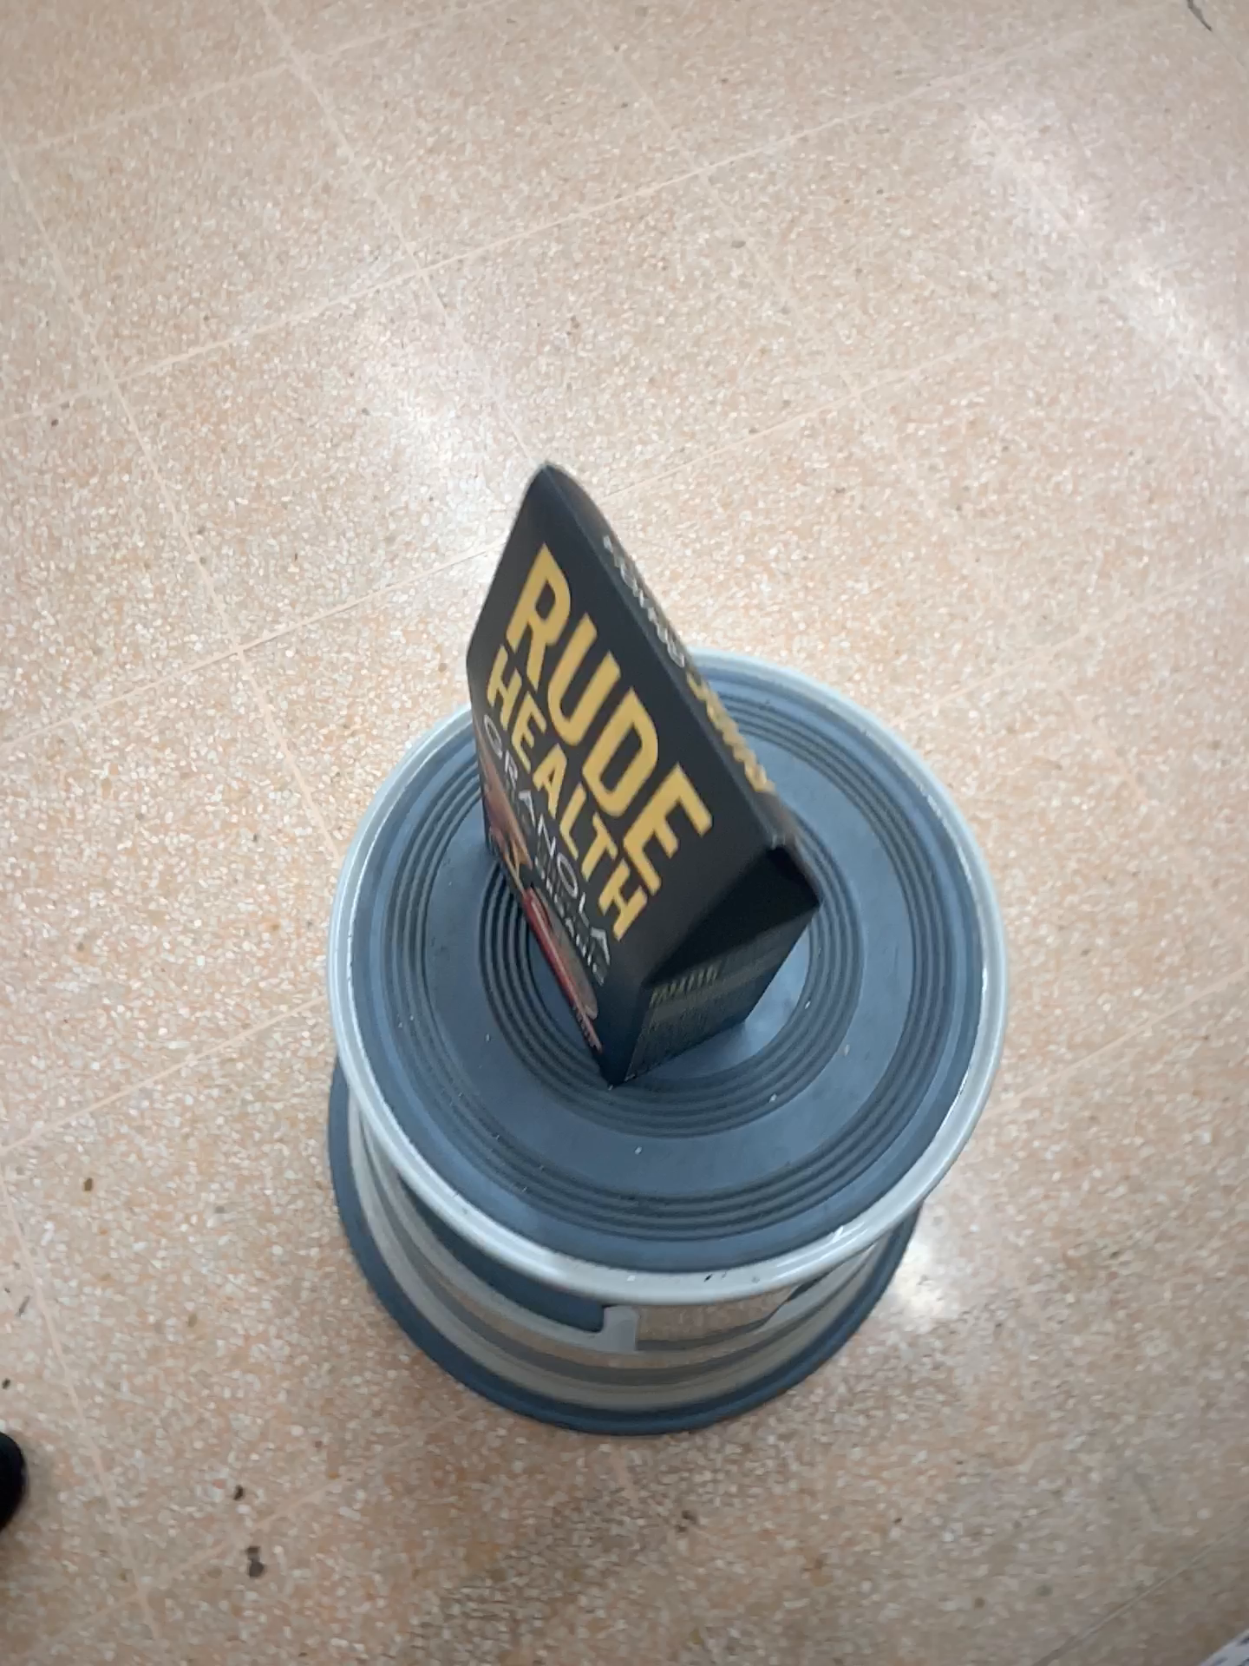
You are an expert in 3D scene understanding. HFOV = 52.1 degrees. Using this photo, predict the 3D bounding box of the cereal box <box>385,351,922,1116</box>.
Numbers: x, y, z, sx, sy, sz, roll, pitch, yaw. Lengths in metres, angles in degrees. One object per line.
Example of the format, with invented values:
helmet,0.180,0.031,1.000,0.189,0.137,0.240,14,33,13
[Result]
cereal box,0.000,-0.005,0.422,0.070,0.259,0.141,-25,72,-11
